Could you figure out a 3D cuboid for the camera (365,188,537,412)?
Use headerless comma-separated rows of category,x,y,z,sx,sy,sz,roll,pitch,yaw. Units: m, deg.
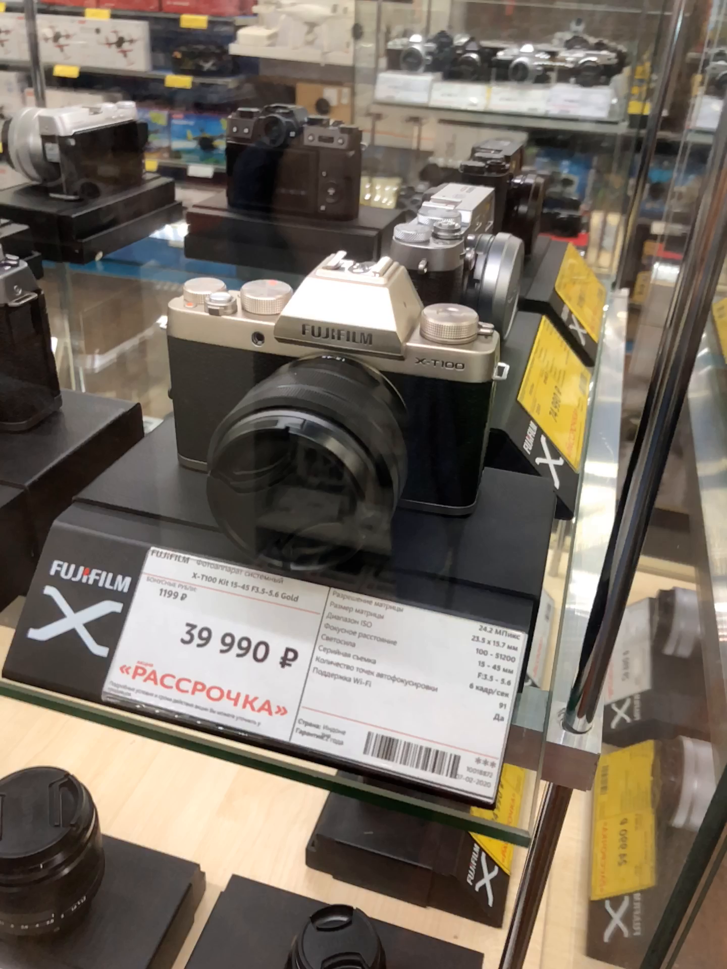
camera,0.050,-0.105,0.431,0.054,0.076,0.132,12,32,15

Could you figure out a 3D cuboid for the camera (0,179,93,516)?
camera,-0.206,-0.063,0.327,0.140,0.086,0.103,11,31,12

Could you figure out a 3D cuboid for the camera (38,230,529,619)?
camera,-0.019,-0.029,0.279,0.131,0.080,0.101,10,31,11
